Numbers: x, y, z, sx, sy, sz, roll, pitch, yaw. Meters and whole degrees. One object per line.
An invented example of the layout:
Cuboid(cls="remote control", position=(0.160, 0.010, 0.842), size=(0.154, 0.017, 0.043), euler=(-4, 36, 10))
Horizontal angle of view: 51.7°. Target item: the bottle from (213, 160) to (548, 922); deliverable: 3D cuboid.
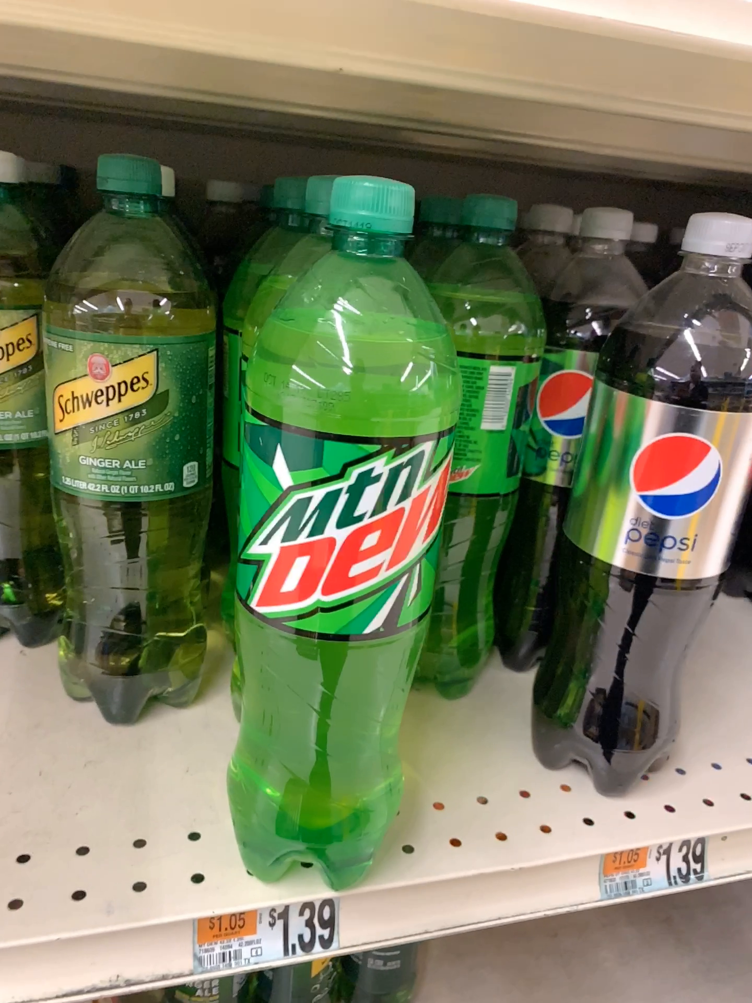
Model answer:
Cuboid(cls="bottle", position=(-0.015, 0.024, 0.335), size=(0.100, 0.302, 0.090), euler=(1, 20, -13))
